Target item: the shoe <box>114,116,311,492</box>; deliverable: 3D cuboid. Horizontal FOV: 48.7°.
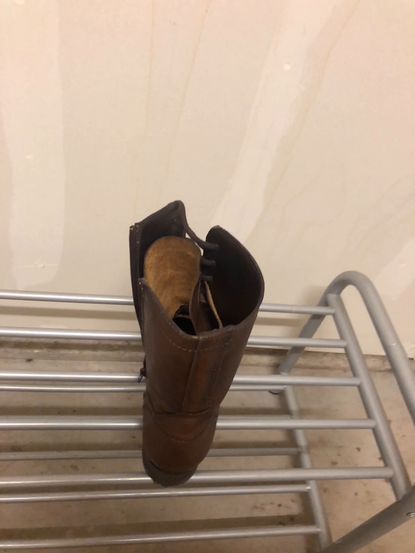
[{"bbox_3d":[-0.014,0.025,0.465,0.121,0.238,0.288,4,46,-6],"label":"shoe"}]
